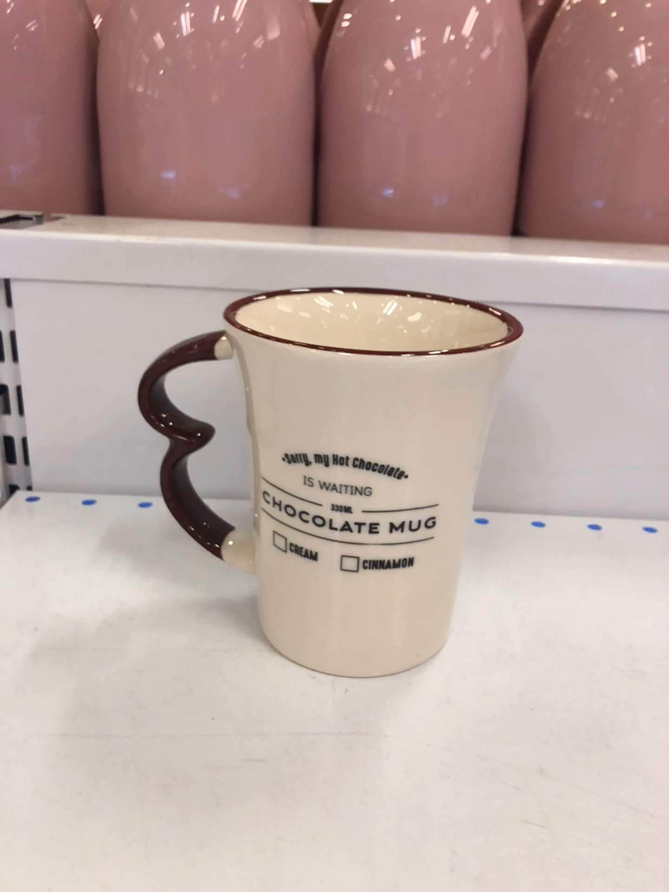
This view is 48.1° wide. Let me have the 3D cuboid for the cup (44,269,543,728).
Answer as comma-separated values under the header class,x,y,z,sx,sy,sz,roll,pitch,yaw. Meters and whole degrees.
class,x,y,z,sx,sy,sz,roll,pitch,yaw
cup,-0.010,0.009,0.241,0.120,0.109,0.091,4,22,3
